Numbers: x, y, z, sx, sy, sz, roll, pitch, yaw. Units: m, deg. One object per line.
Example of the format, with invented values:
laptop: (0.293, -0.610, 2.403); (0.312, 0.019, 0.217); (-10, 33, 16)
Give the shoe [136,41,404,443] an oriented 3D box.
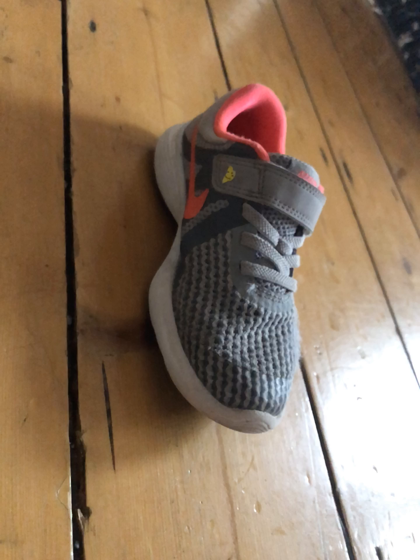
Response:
shoe: (0.018, -0.019, 0.241); (0.080, 0.070, 0.181); (18, 51, -36)
